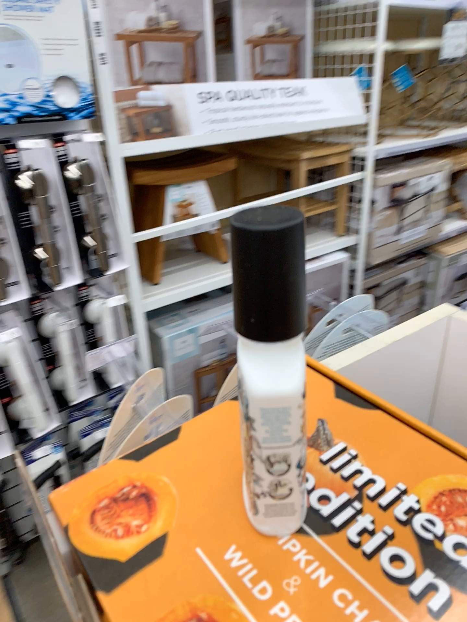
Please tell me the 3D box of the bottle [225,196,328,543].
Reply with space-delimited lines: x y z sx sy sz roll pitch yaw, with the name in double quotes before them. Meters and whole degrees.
"bottle" 0.017 0.031 0.219 0.033 0.151 0.055 -3 27 -1
